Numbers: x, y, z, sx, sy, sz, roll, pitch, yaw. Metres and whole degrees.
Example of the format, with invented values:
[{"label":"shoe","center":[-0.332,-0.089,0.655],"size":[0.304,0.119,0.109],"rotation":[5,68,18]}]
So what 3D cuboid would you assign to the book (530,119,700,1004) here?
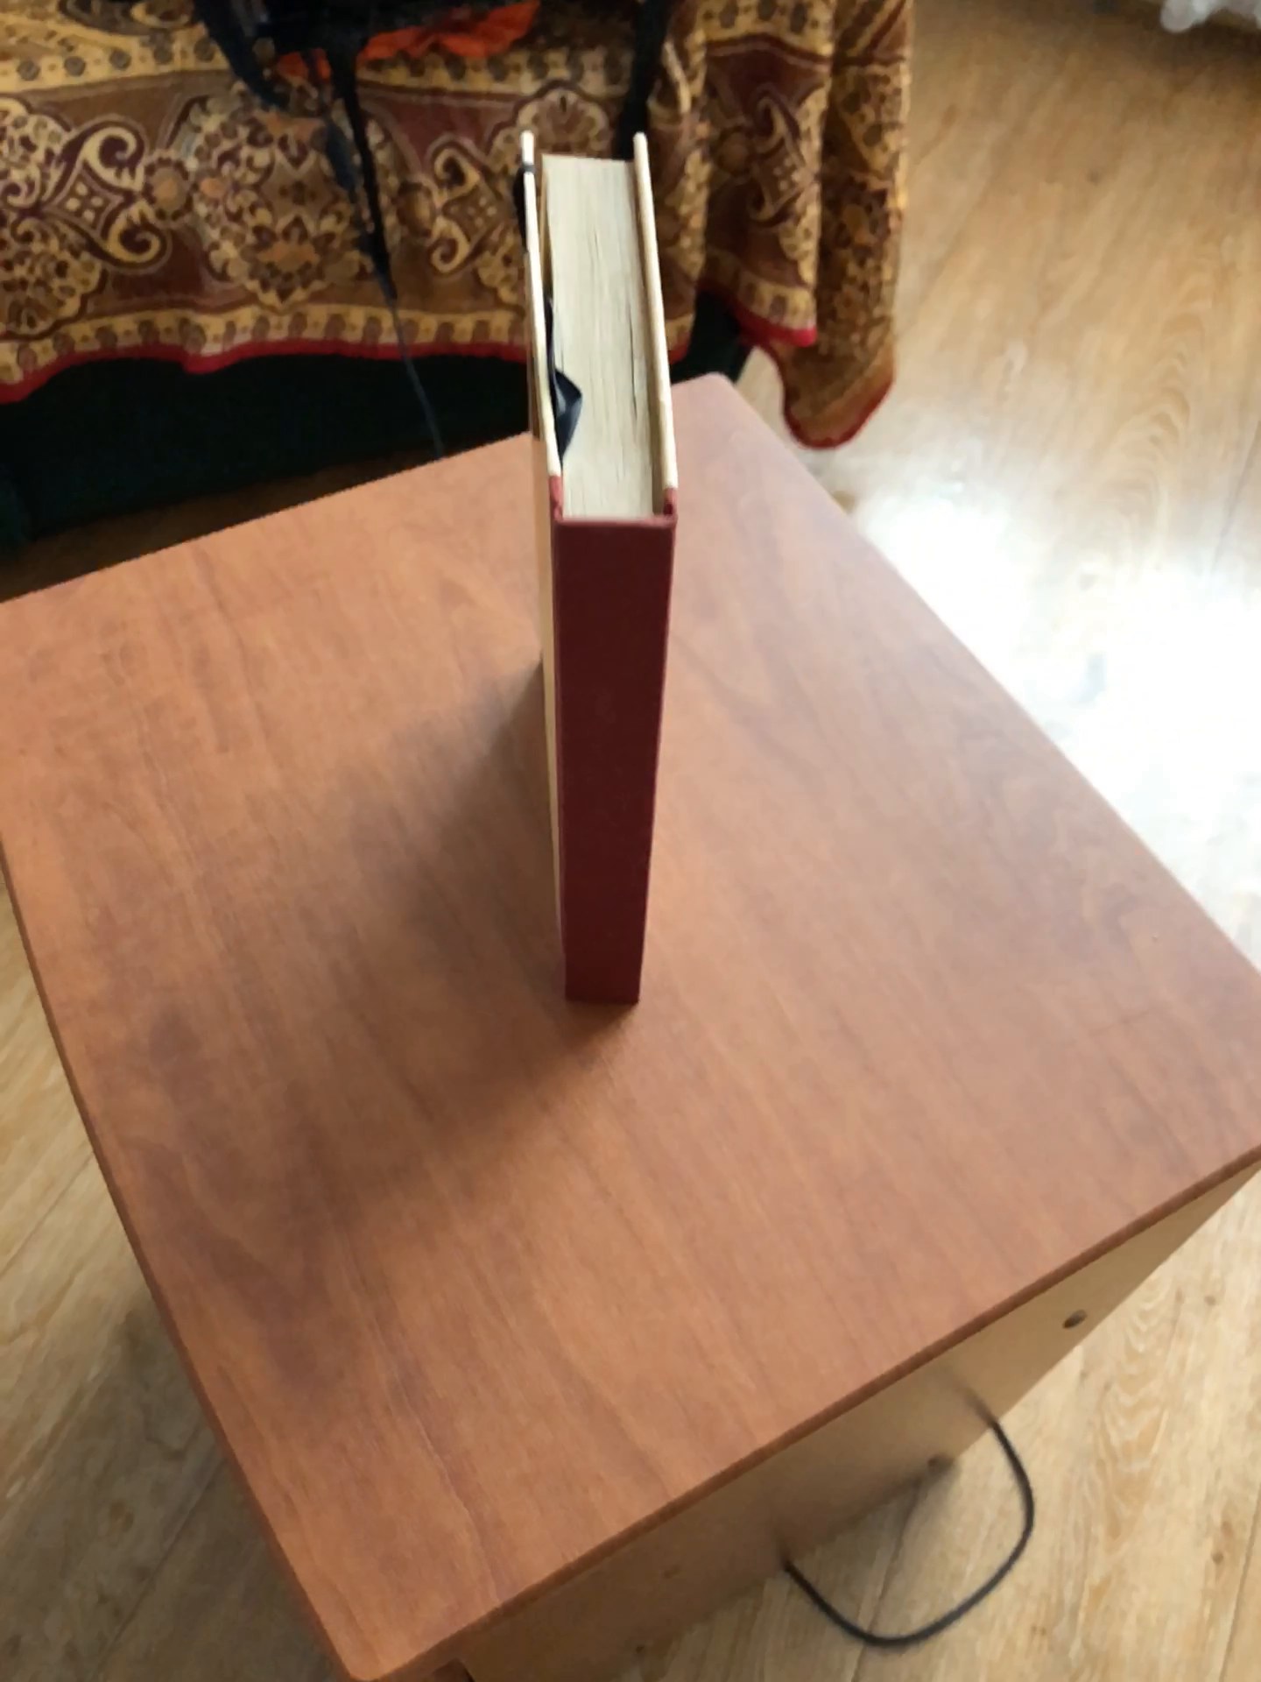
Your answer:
[{"label":"book","center":[-0.011,-0.071,0.419],"size":[0.032,0.212,0.155],"rotation":[-2,55,-4]}]
